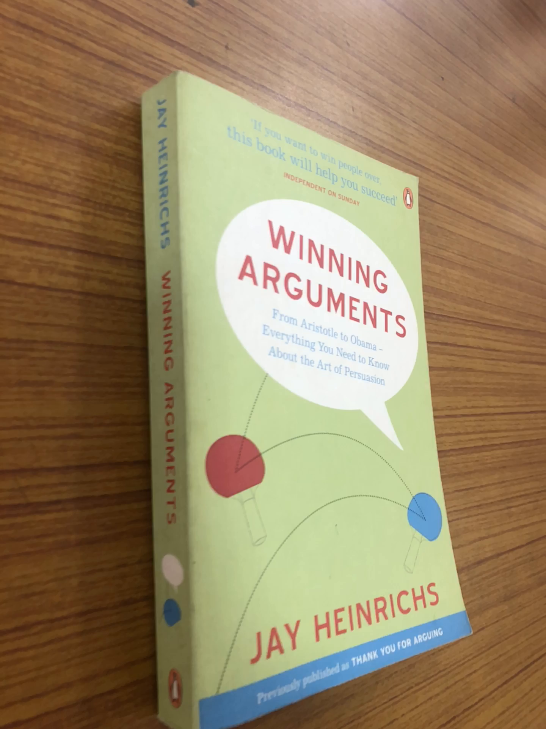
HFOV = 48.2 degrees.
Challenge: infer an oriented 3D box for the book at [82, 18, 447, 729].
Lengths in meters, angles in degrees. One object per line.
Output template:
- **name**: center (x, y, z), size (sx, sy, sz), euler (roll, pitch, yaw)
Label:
- **book**: center (0.004, 0.009, 0.223), size (0.141, 0.030, 0.210), euler (6, 77, -44)
